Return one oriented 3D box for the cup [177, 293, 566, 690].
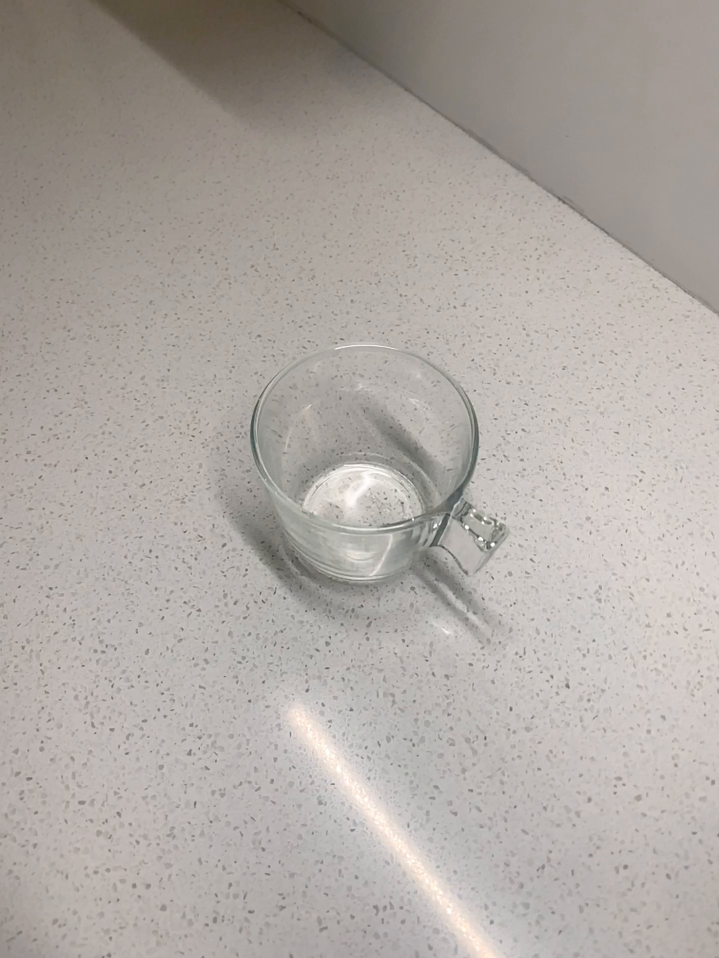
[{"bbox_3d":[0.003,0.005,0.303,0.090,0.080,0.110,-40,67,-22],"label":"cup"}]
